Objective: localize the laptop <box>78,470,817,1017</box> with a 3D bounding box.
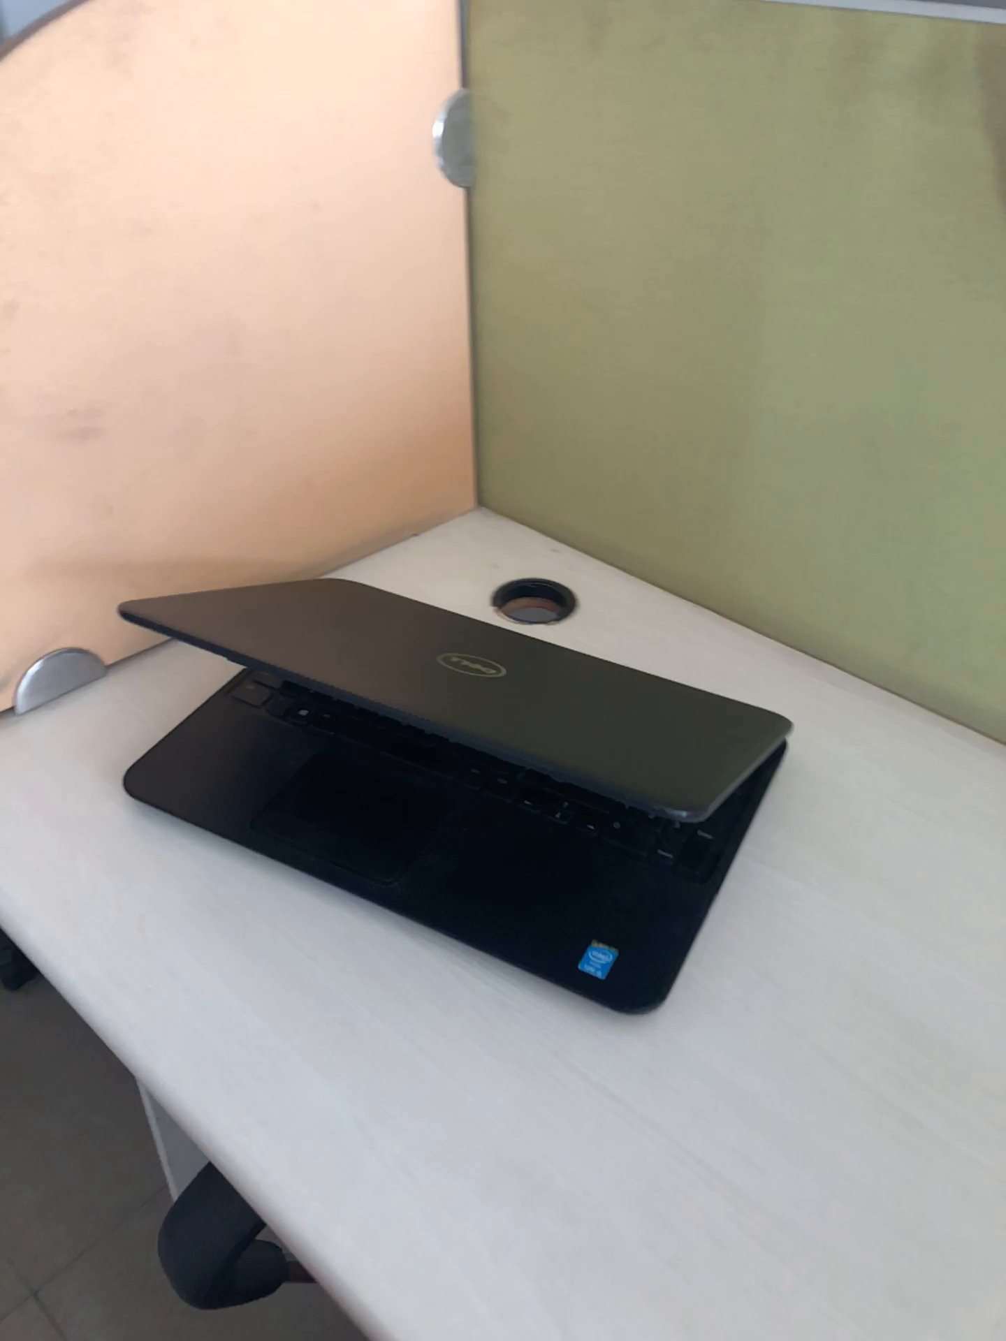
[{"bbox_3d":[-0.028,0.014,0.689,0.367,0.106,0.248,18,41,23],"label":"laptop"}]
